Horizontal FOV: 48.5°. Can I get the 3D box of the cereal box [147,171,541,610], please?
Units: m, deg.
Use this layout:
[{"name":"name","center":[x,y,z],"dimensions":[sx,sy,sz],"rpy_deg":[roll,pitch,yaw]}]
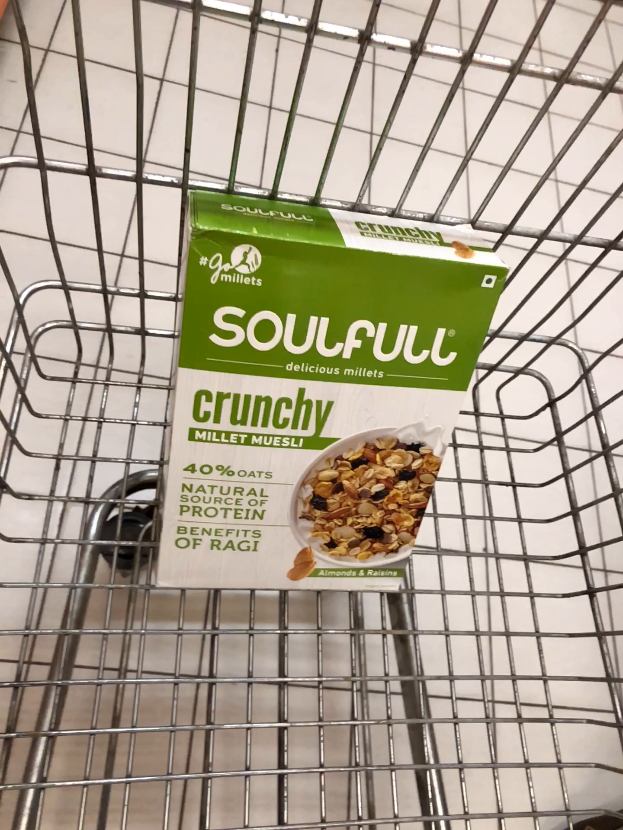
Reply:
[{"name":"cereal box","center":[0.001,0.002,0.401],"dimensions":[0.170,0.239,0.070],"rpy_deg":[4,31,-14]}]
